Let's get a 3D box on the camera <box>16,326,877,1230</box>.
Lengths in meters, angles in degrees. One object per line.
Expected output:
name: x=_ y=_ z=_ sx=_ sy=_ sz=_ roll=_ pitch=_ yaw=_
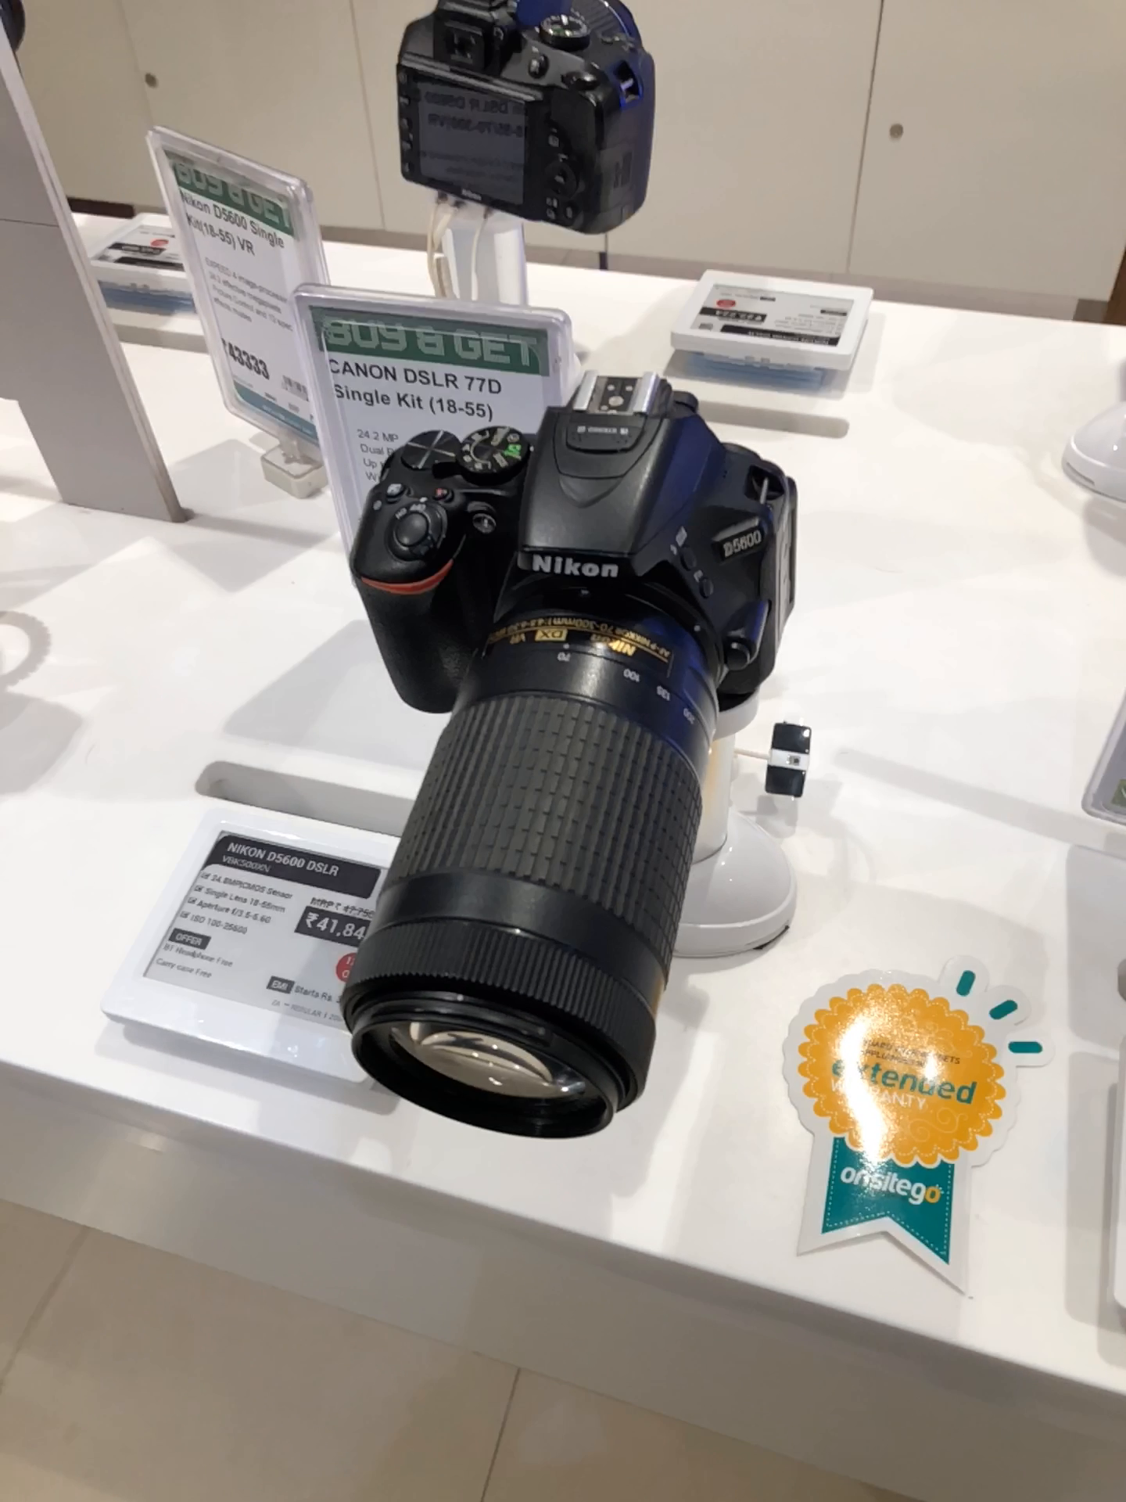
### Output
camera: x=-0.007 y=-0.010 z=0.314 sx=0.140 sy=0.089 sz=0.201 roll=9 pitch=49 yaw=12
